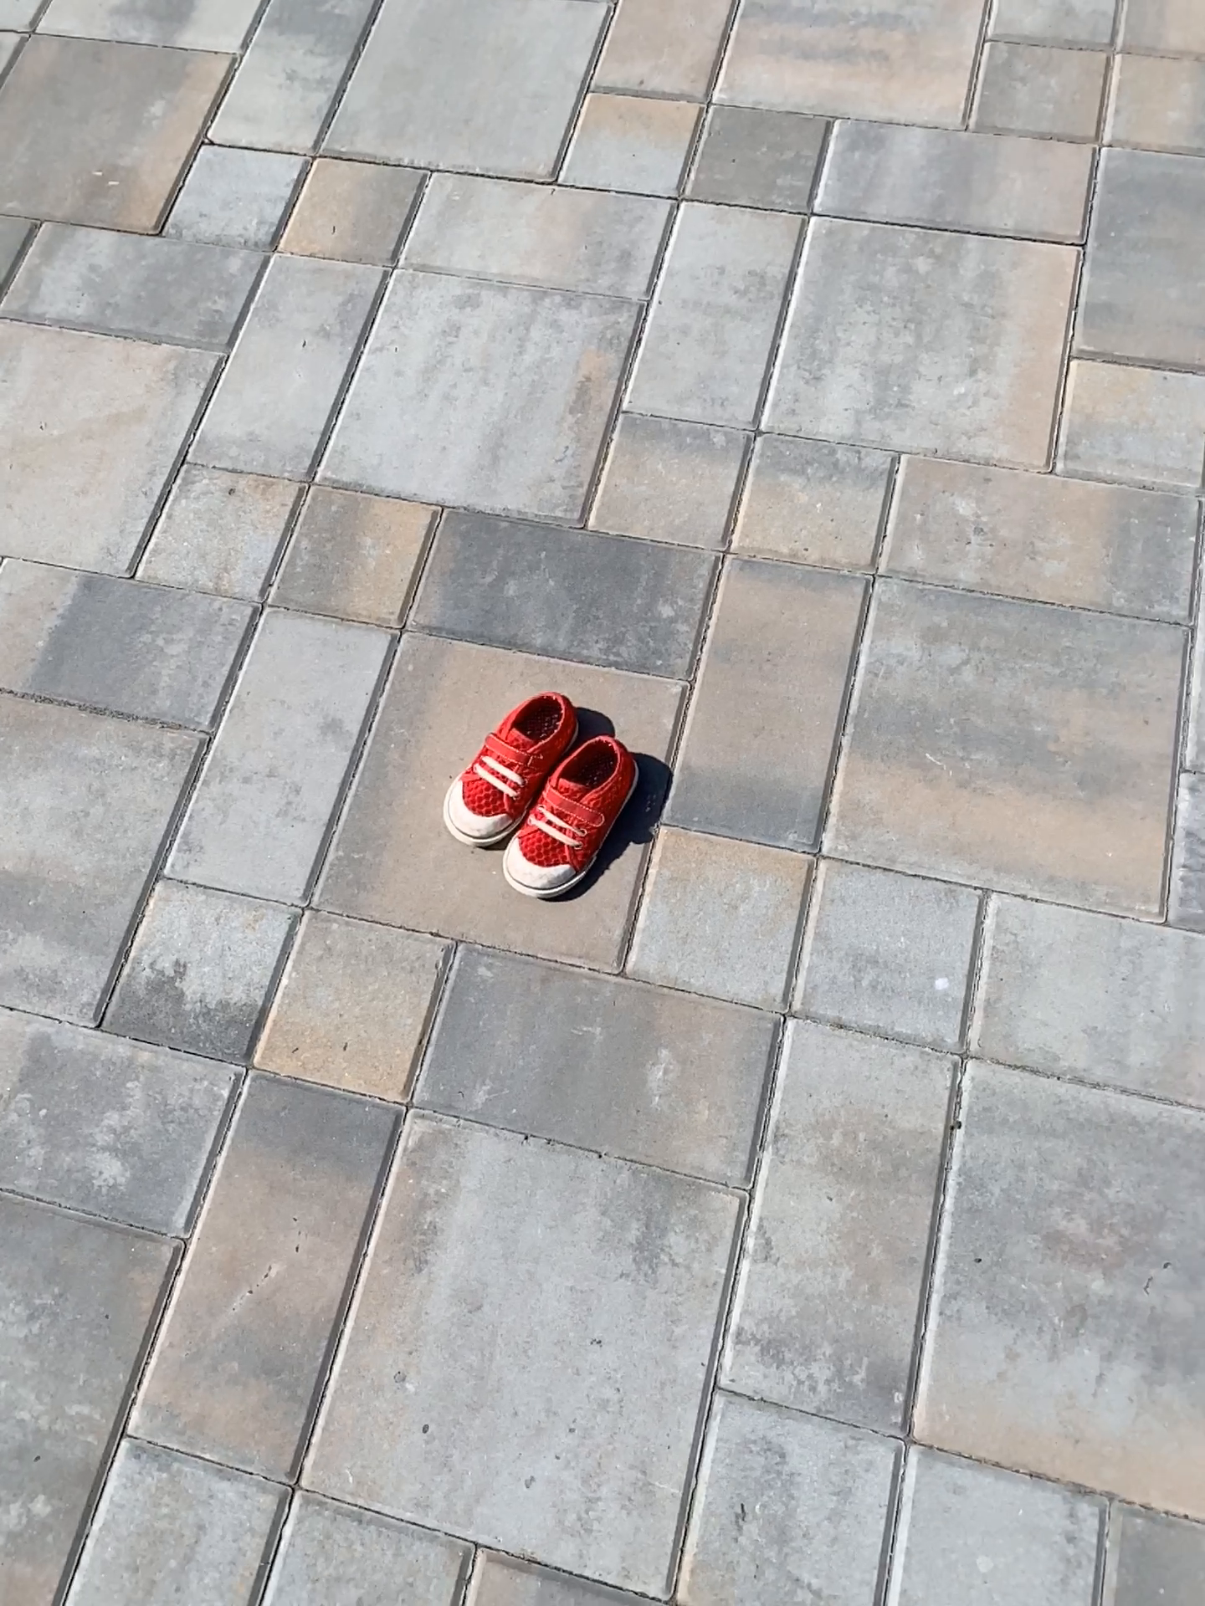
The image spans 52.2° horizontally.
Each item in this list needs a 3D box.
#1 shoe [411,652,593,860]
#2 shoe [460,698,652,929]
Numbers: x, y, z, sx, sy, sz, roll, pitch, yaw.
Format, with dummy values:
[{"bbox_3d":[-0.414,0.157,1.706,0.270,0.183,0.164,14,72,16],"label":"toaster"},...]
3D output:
[{"bbox_3d":[-0.090,-0.043,1.155,0.070,0.100,0.160,35,75,17],"label":"shoe"},{"bbox_3d":[-0.039,0.011,1.144,0.090,0.100,0.170,30,73,15],"label":"shoe"}]
